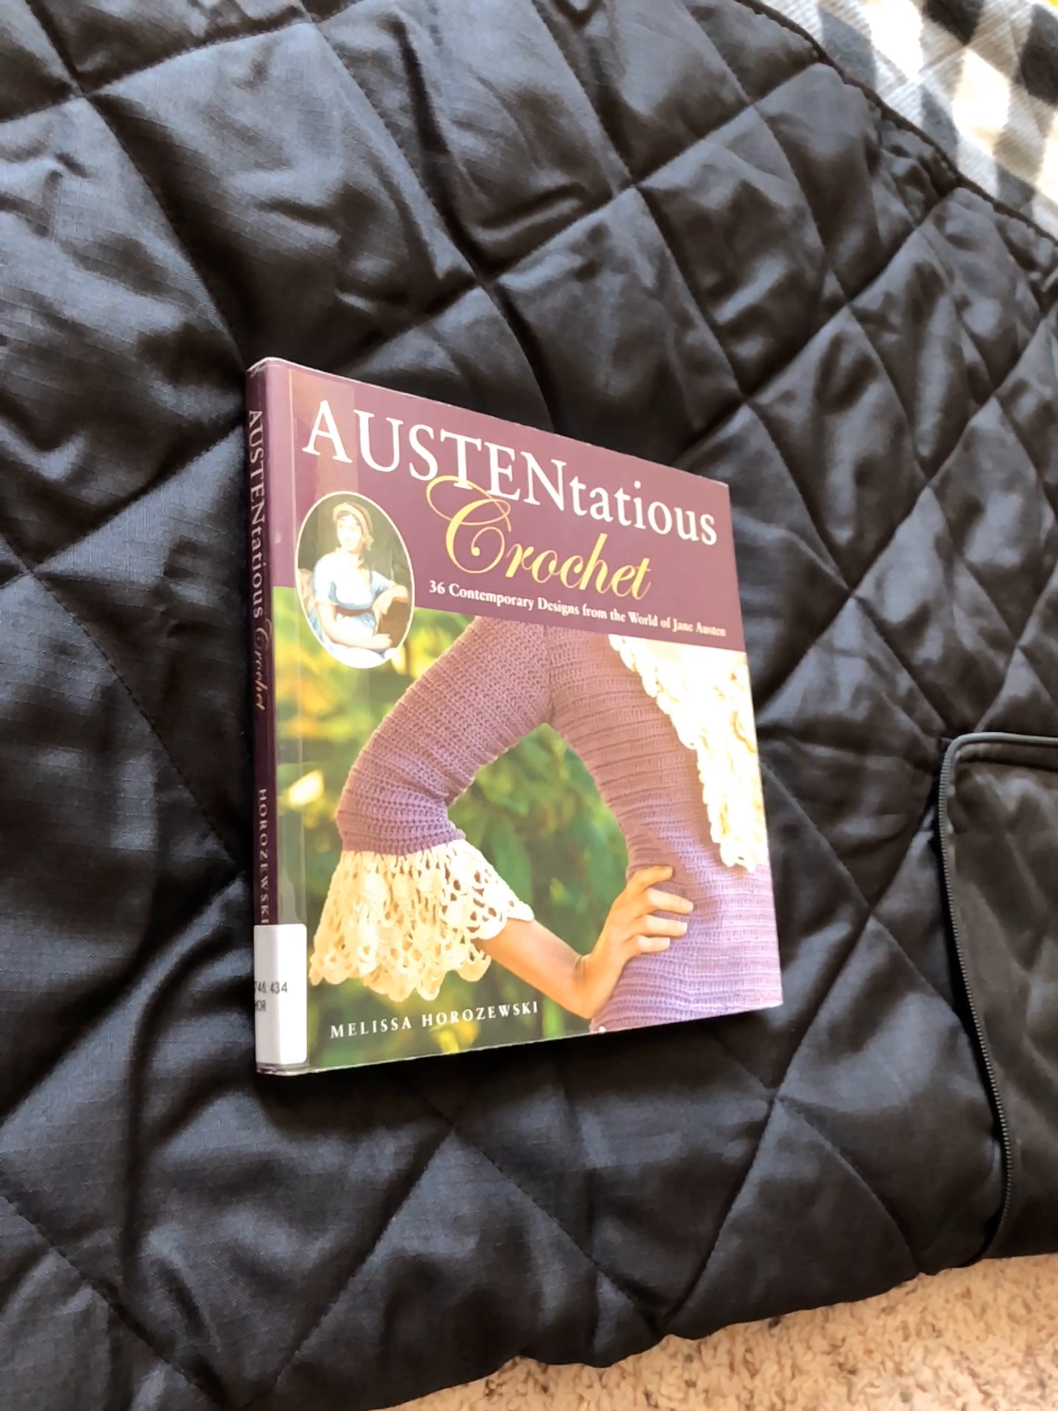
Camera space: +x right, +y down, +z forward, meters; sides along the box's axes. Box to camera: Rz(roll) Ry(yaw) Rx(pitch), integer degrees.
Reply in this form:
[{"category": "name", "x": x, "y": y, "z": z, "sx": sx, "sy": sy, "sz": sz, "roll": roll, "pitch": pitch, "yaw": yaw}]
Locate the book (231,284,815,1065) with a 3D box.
[{"category": "book", "x": 0.007, "y": -0.008, "z": 0.412, "sx": 0.221, "sy": 0.020, "sz": 0.230, "roll": 4, "pitch": 76, "yaw": -38}]
